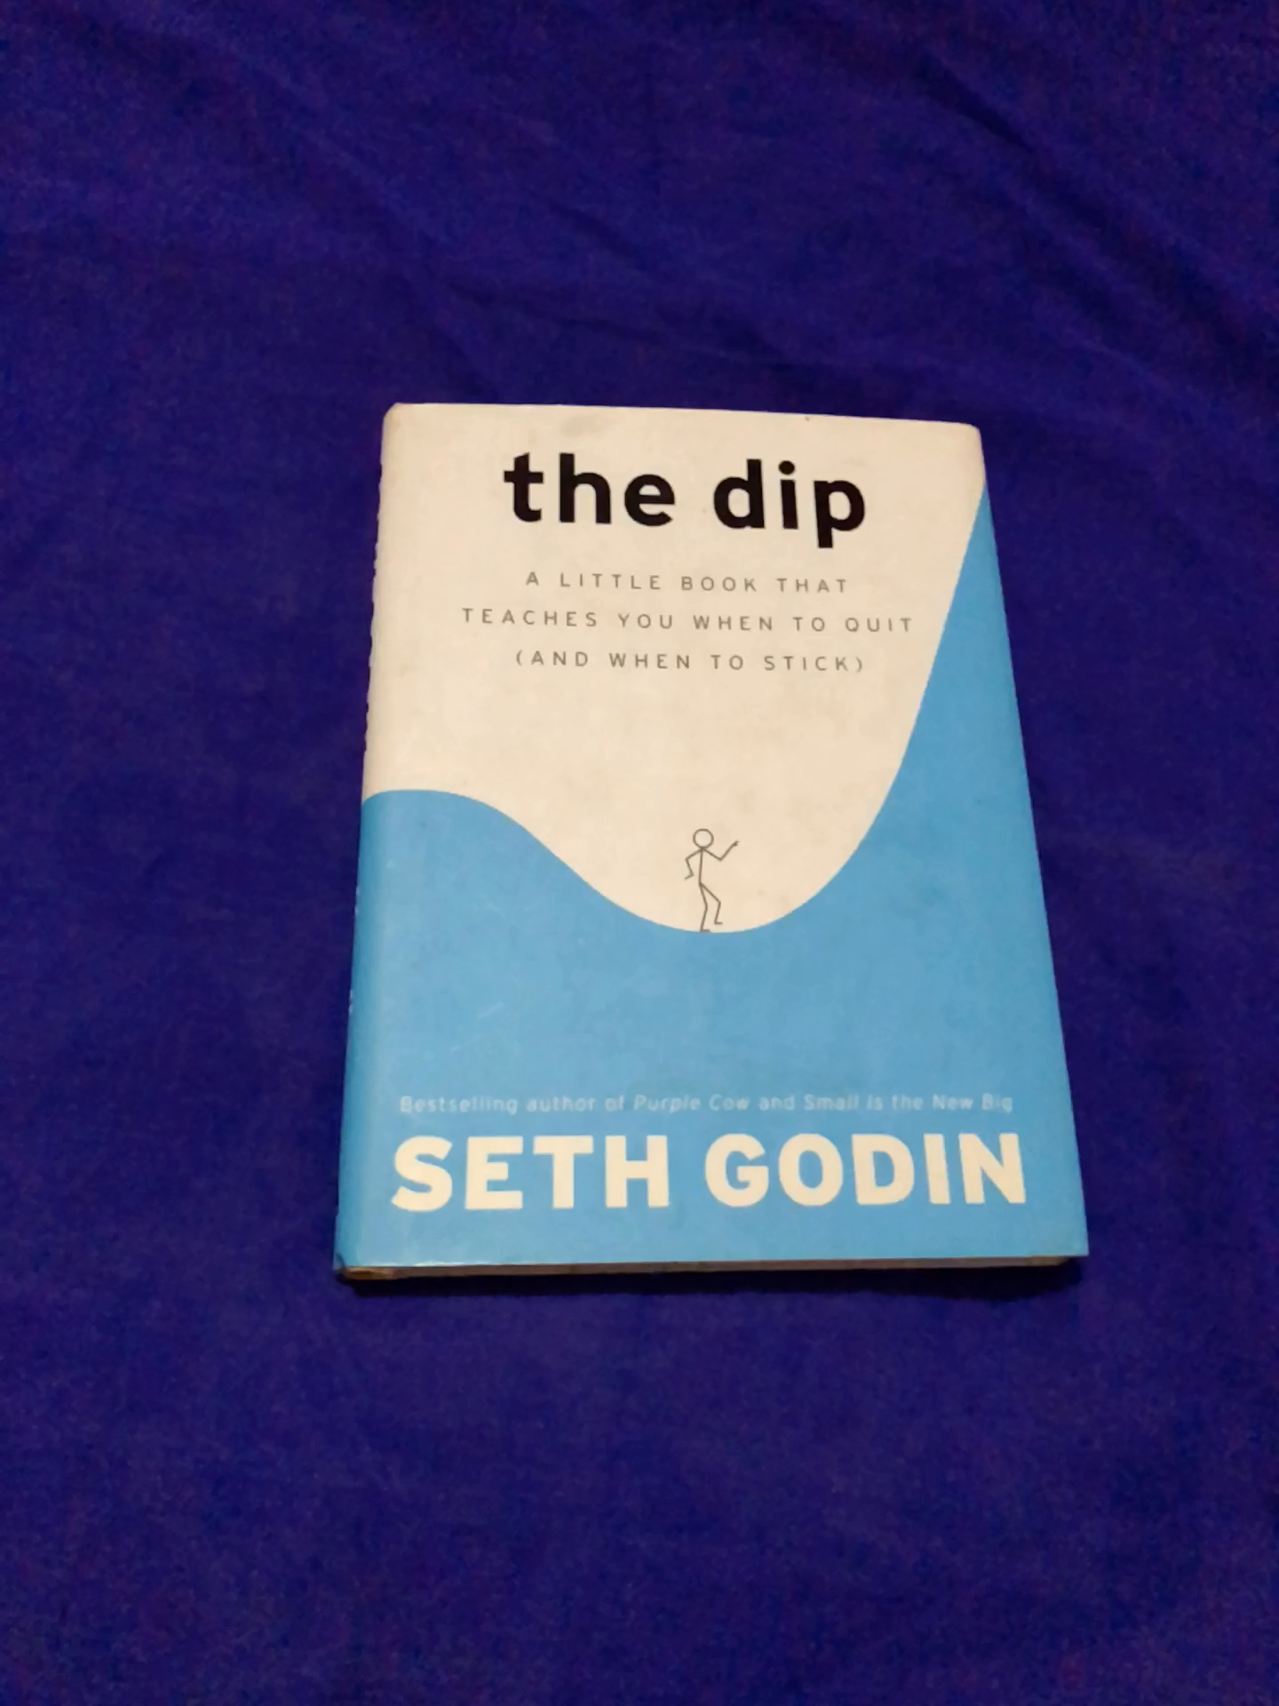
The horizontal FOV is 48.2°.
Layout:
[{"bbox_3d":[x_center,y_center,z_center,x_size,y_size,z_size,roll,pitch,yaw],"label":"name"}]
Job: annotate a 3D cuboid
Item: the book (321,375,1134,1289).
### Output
[{"bbox_3d":[0.013,-0.013,0.291,0.140,0.020,0.190,0,67,-5],"label":"book"}]
